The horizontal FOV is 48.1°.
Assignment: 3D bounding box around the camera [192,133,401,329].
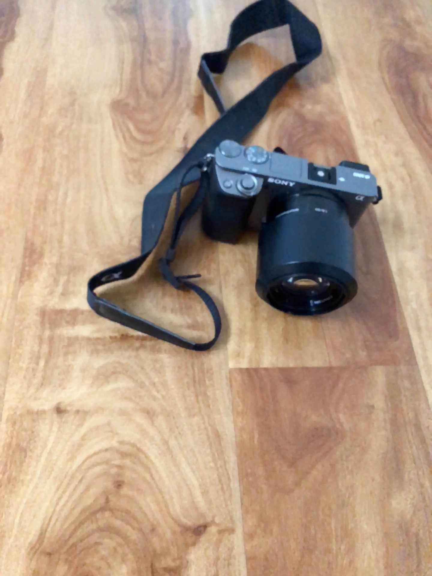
[{"bbox_3d":[0.056,-0.042,0.369,0.130,0.070,0.110,9,58,-6],"label":"camera"}]
